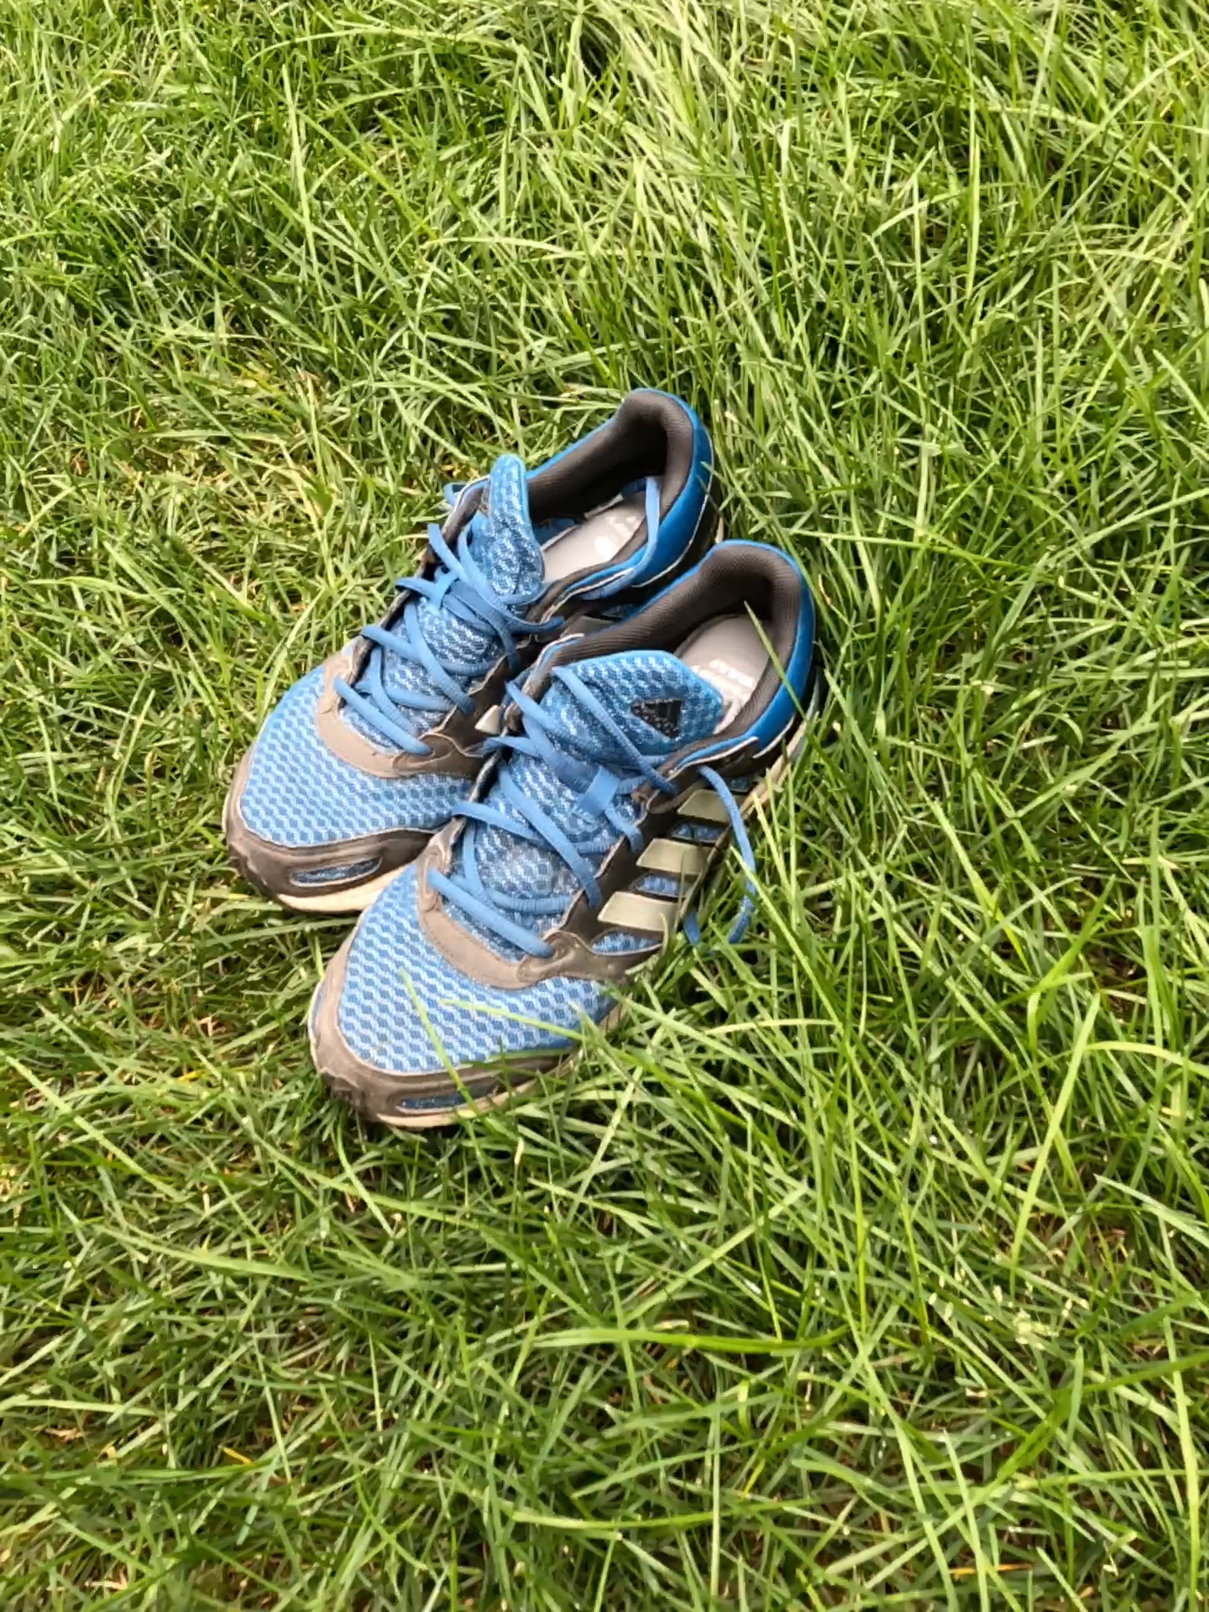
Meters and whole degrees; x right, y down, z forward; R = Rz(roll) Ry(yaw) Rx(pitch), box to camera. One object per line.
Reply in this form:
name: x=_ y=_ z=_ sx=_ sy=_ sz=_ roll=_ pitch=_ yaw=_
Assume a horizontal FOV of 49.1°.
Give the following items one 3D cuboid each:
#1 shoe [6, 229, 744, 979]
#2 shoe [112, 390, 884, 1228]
shoe: x=-0.083 y=-0.082 z=0.554 sx=0.120 sy=0.120 sz=0.270 roll=38 pitch=81 yaw=26
shoe: x=-0.026 y=0.002 z=0.510 sx=0.120 sy=0.120 sz=0.280 roll=33 pitch=79 yaw=25
